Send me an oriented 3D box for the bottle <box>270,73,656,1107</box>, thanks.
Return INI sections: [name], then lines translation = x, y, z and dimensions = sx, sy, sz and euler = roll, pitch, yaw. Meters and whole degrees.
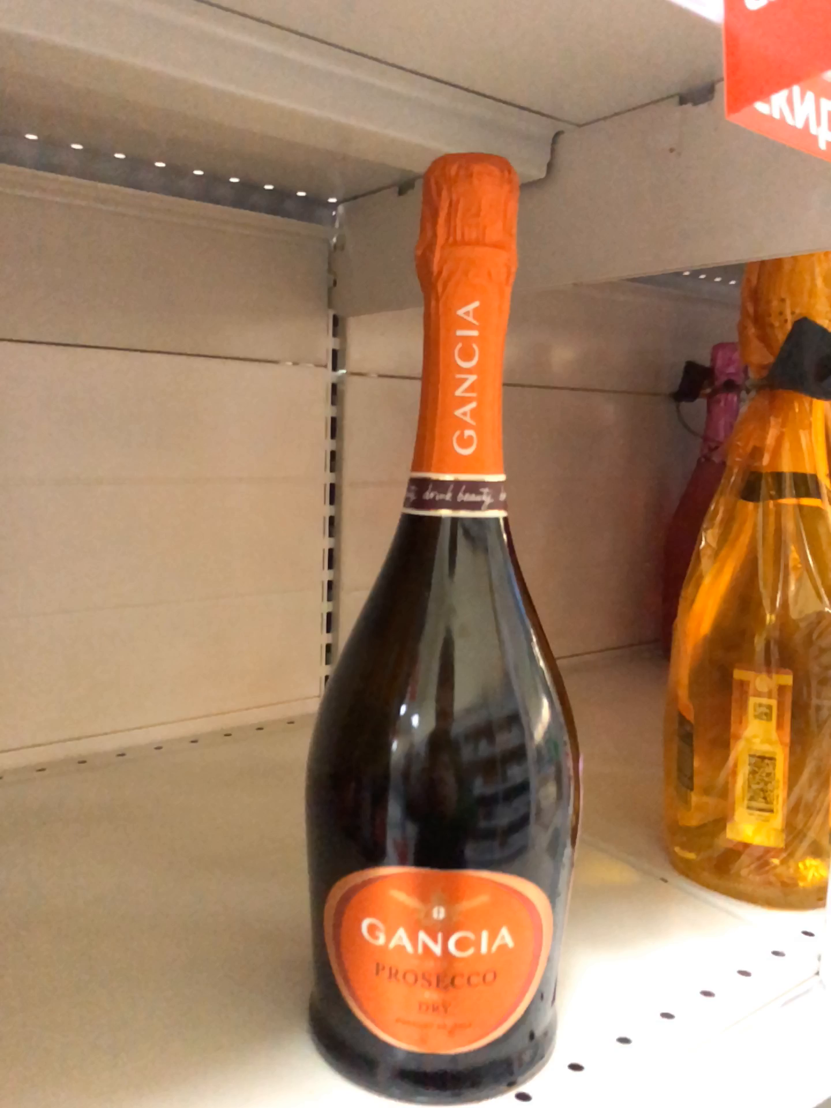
[bottle]
translation = 0.011, 0.017, 0.319
dimensions = 0.100, 0.309, 0.100
euler = 2, 7, 0
